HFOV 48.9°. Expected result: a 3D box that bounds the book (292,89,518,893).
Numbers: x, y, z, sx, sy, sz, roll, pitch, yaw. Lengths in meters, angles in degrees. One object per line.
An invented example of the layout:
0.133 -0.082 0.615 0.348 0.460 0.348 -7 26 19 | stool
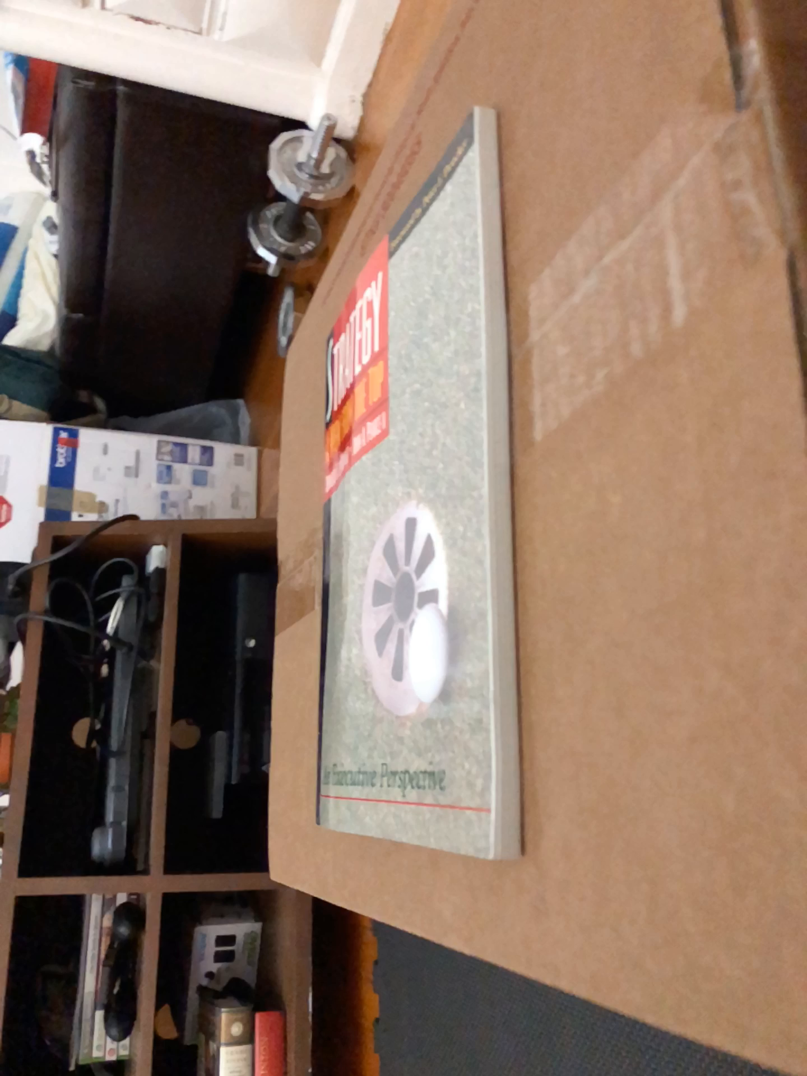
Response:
-0.010 -0.005 0.339 0.181 0.020 0.240 145 128 -66 | book
